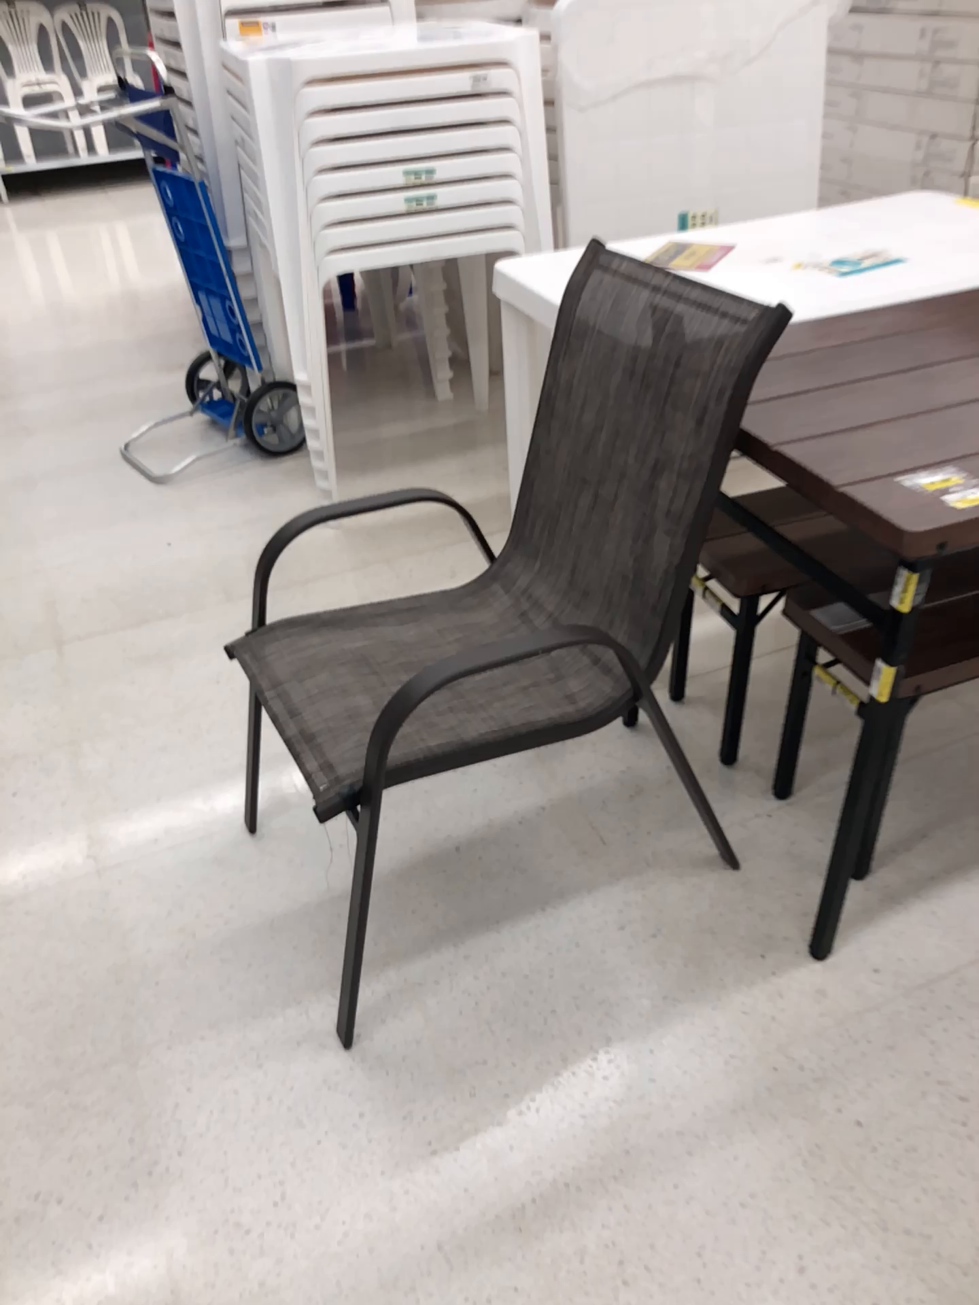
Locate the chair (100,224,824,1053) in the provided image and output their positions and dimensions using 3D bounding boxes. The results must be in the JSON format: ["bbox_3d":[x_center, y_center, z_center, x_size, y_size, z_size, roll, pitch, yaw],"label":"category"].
[{"bbox_3d":[-0.046,-0.067,1.551,0.711,0.853,0.604,-17,35,-19],"label":"chair"}]
